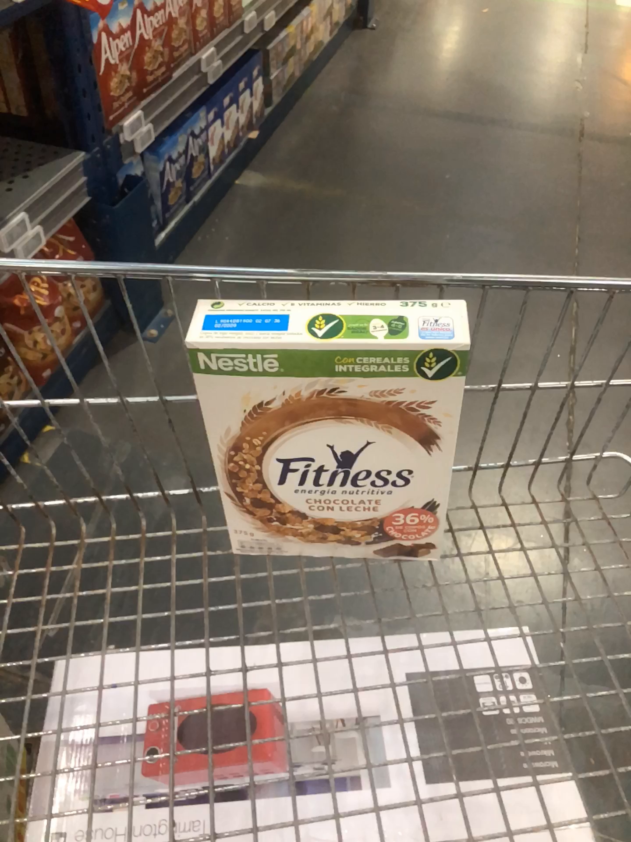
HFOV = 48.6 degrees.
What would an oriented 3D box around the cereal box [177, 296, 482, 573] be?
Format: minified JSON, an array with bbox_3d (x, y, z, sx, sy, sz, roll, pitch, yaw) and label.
[{"bbox_3d":[0.014,0.023,0.571,0.200,0.259,0.060,1,45,4],"label":"cereal box"}]
